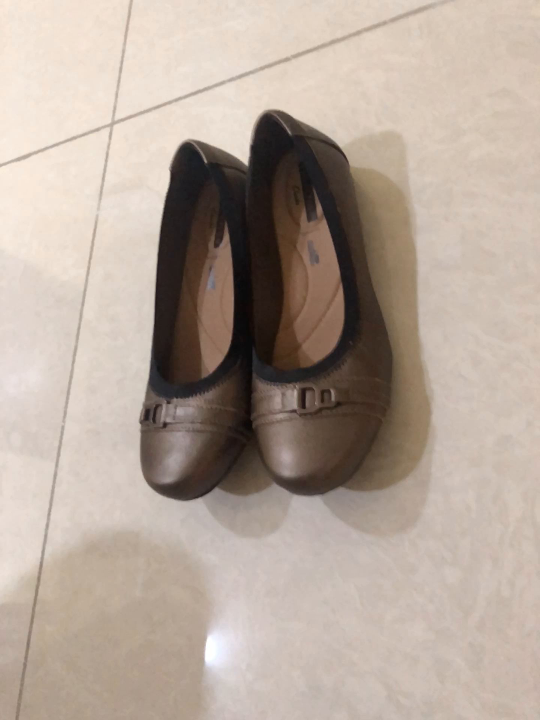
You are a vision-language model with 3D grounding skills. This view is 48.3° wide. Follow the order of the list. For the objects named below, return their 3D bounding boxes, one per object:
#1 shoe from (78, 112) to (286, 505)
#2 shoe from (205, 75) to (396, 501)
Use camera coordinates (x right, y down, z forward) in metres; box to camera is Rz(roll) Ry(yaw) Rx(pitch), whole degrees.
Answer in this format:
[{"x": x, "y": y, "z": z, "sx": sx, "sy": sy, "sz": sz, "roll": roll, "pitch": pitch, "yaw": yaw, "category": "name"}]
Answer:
[{"x": -0.058, "y": -0.039, "z": 0.436, "sx": 0.100, "sy": 0.050, "sz": 0.270, "roll": -3, "pitch": 71, "yaw": 29, "category": "shoe"}, {"x": 0.020, "y": -0.046, "z": 0.397, "sx": 0.090, "sy": 0.070, "sz": 0.260, "roll": -10, "pitch": 67, "yaw": 26, "category": "shoe"}]
